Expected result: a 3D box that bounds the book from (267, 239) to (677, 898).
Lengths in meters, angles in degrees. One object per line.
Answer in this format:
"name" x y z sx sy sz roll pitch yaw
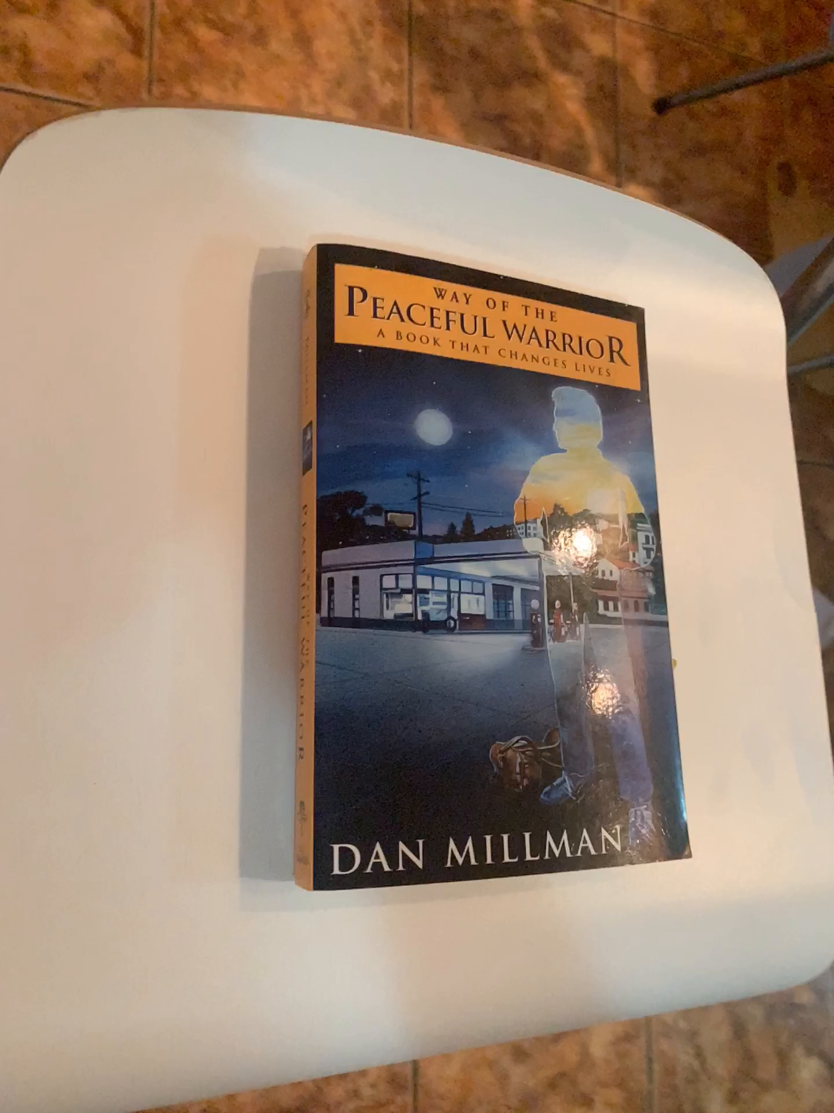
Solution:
"book" 0.023 0.005 0.316 0.141 0.039 0.210 4 82 -21
